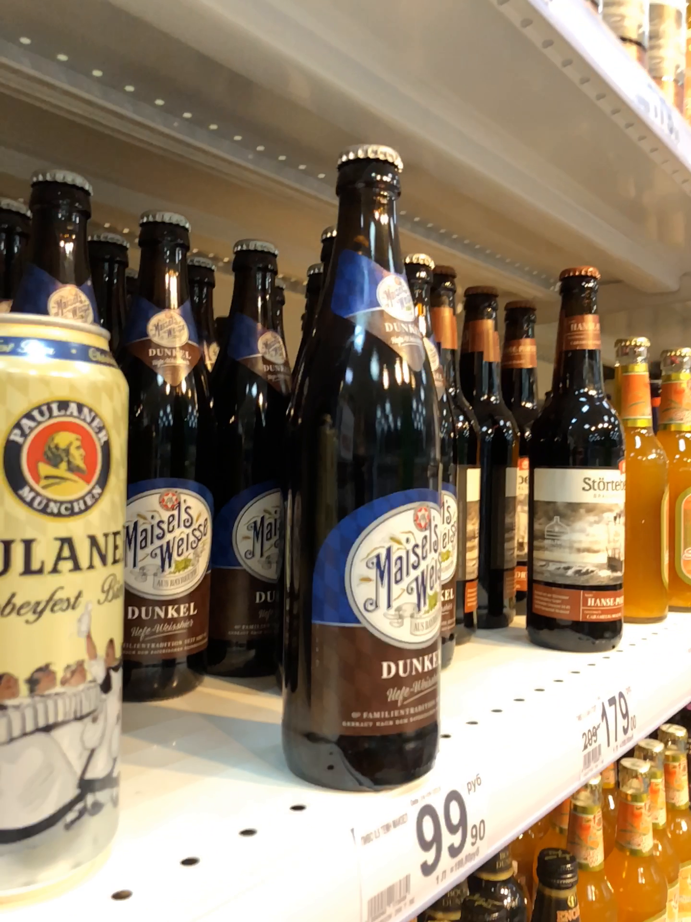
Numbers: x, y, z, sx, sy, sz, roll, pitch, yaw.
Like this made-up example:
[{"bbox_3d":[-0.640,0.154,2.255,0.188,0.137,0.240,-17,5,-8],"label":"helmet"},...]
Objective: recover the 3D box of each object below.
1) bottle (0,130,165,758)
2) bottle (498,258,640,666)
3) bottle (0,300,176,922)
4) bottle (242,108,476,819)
[{"bbox_3d":[-0.143,-0.008,0.372,0.070,0.262,0.082,2,-1,-38],"label":"bottle"},{"bbox_3d":[0.163,0.000,0.558,0.065,0.274,0.066,2,-1,0],"label":"bottle"},{"bbox_3d":[-0.106,0.042,0.241,0.068,0.168,0.069,2,0,0],"label":"bottle"},{"bbox_3d":[0.005,0.000,0.328,0.065,0.263,0.066,2,-1,0],"label":"bottle"}]
